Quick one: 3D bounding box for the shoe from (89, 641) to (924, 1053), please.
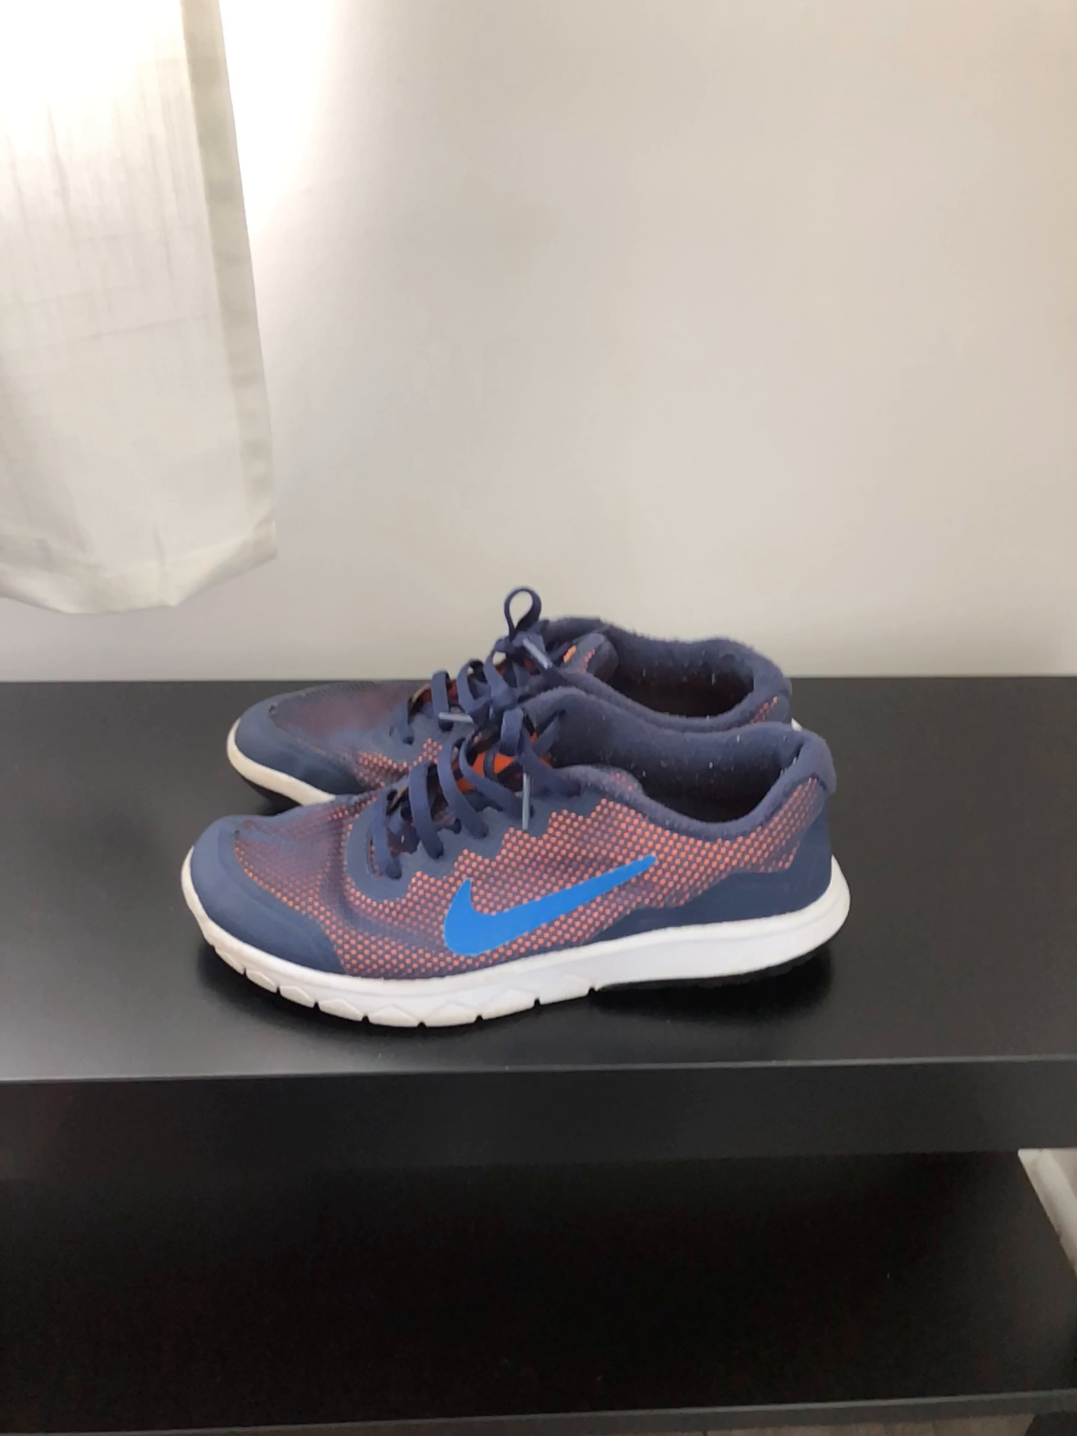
[{"bbox_3d":[-0.013,0.041,0.443,0.260,0.089,0.121,-1,32,-5],"label":"shoe"}]

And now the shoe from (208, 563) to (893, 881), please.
[{"bbox_3d":[0.004,-0.001,0.516,0.260,0.089,0.100,2,32,0],"label":"shoe"}]
